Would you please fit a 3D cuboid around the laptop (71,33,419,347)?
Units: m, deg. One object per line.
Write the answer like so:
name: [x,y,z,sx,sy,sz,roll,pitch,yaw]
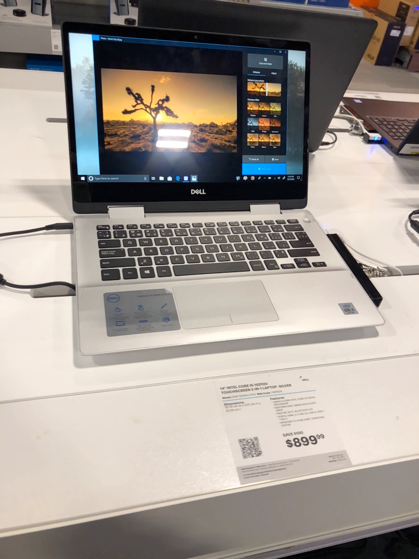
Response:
laptop: [0.013,-0.122,0.515,0.311,0.195,0.328,-3,40,-13]
